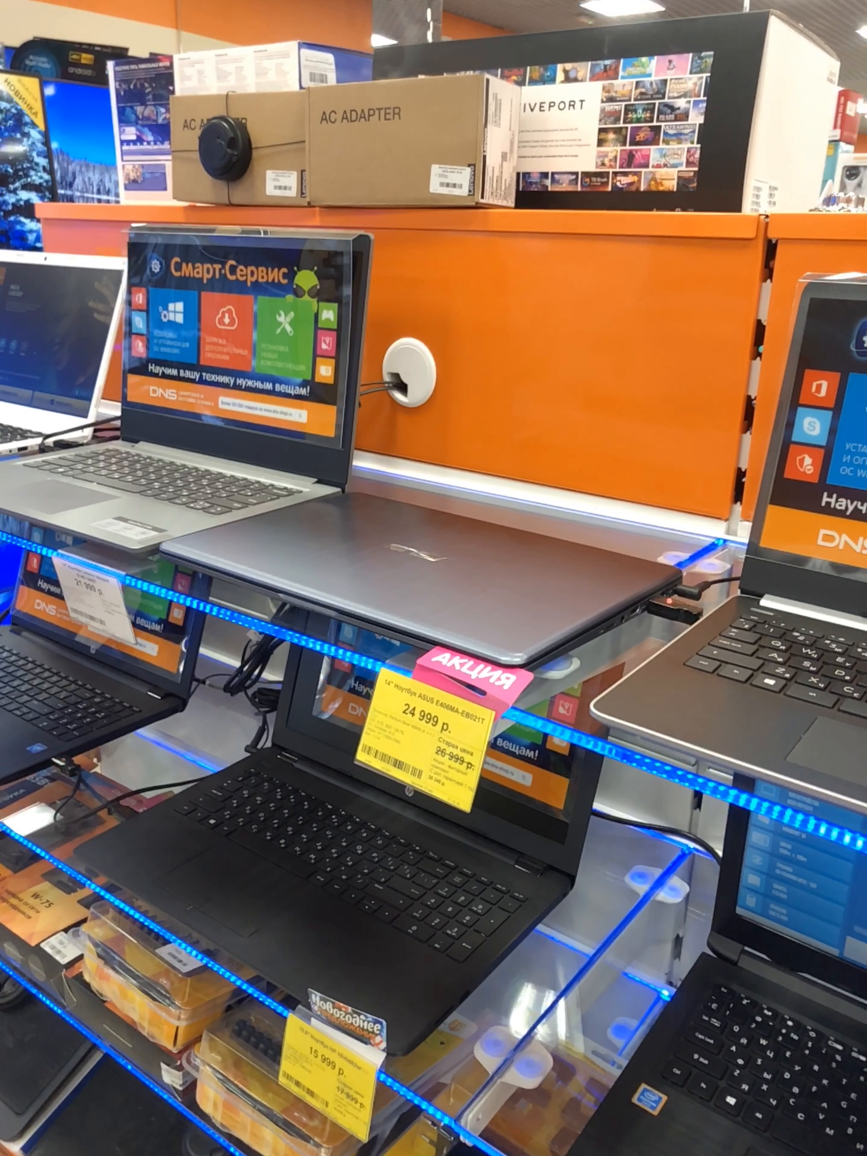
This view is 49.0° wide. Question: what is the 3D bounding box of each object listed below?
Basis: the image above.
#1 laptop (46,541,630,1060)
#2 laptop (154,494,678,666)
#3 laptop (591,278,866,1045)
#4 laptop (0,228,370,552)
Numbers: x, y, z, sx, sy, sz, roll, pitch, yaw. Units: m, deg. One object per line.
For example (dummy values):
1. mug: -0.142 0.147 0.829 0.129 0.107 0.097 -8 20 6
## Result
1. laptop: -0.079 0.145 0.839 0.377 0.227 0.313 15 23 35
2. laptop: -0.017 -0.014 0.701 0.324 0.001 0.214 16 24 36
3. laptop: 0.296 -0.026 0.462 0.336 0.205 0.272 16 24 33
4. laptop: -0.283 -0.201 0.883 0.353 0.225 0.289 14 23 33
